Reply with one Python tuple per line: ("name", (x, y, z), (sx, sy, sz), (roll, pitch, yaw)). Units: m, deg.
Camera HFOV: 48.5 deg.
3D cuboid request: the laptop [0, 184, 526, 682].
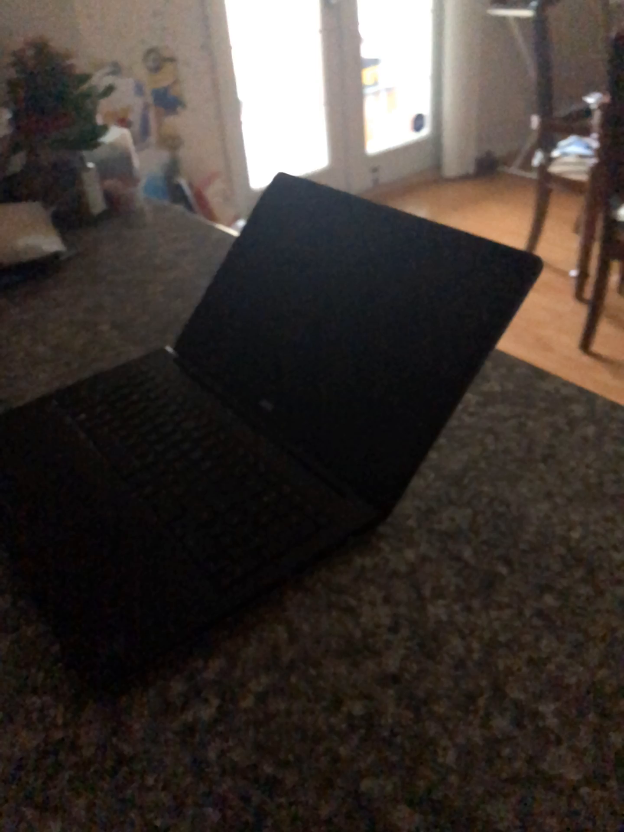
("laptop", (-0.094, -0.047, 0.630), (0.414, 0.158, 0.363), (-27, 41, -28))
